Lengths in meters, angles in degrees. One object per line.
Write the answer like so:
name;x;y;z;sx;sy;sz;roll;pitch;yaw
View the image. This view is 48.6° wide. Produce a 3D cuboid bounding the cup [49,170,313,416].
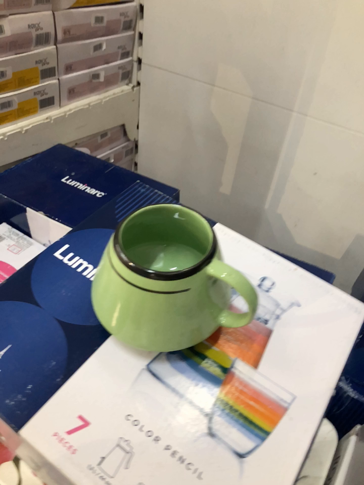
cup;-0.001;0.024;0.292;0.140;0.069;0.111;29;44;23
